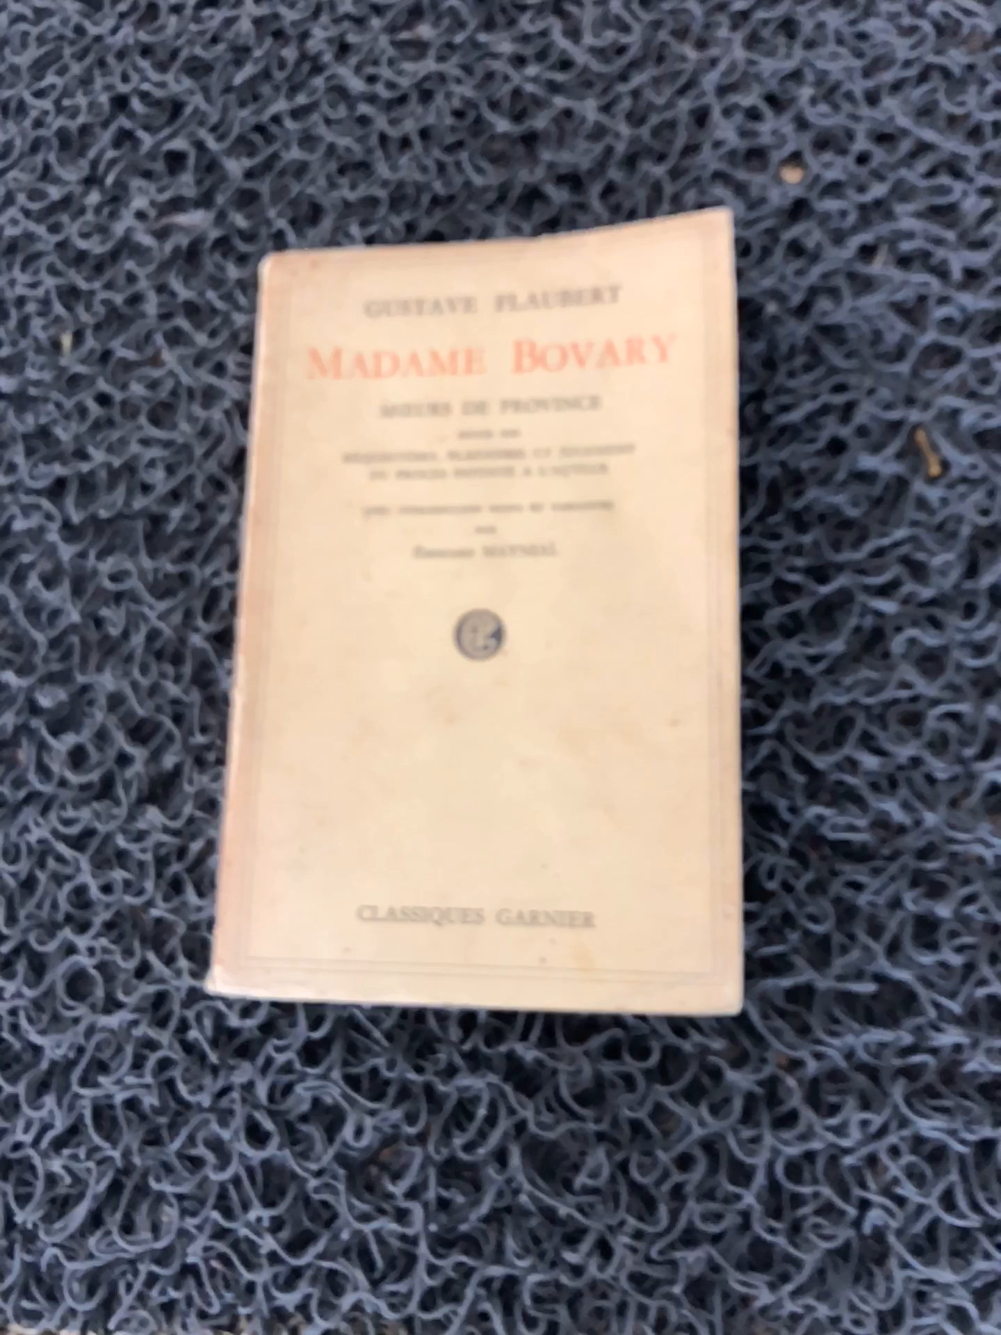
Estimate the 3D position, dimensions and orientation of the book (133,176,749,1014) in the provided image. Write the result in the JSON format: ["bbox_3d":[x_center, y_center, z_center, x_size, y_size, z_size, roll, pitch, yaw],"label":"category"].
[{"bbox_3d":[-0.010,-0.018,0.260,0.124,0.035,0.180,0,78,7],"label":"book"}]
